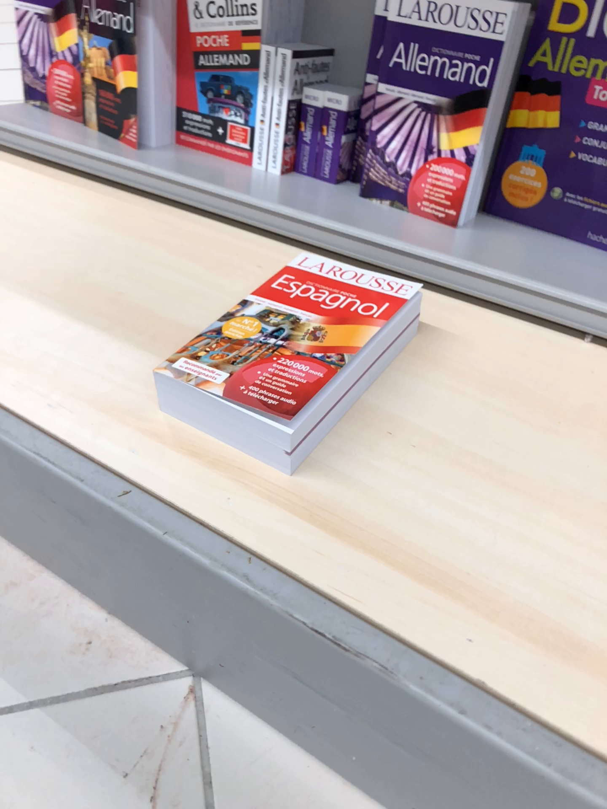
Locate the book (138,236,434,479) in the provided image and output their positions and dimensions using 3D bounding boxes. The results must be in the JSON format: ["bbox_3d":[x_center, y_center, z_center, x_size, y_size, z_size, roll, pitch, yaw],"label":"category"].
[{"bbox_3d":[-0.004,-0.045,0.466,0.117,0.044,0.183,24,46,23],"label":"book"}]
